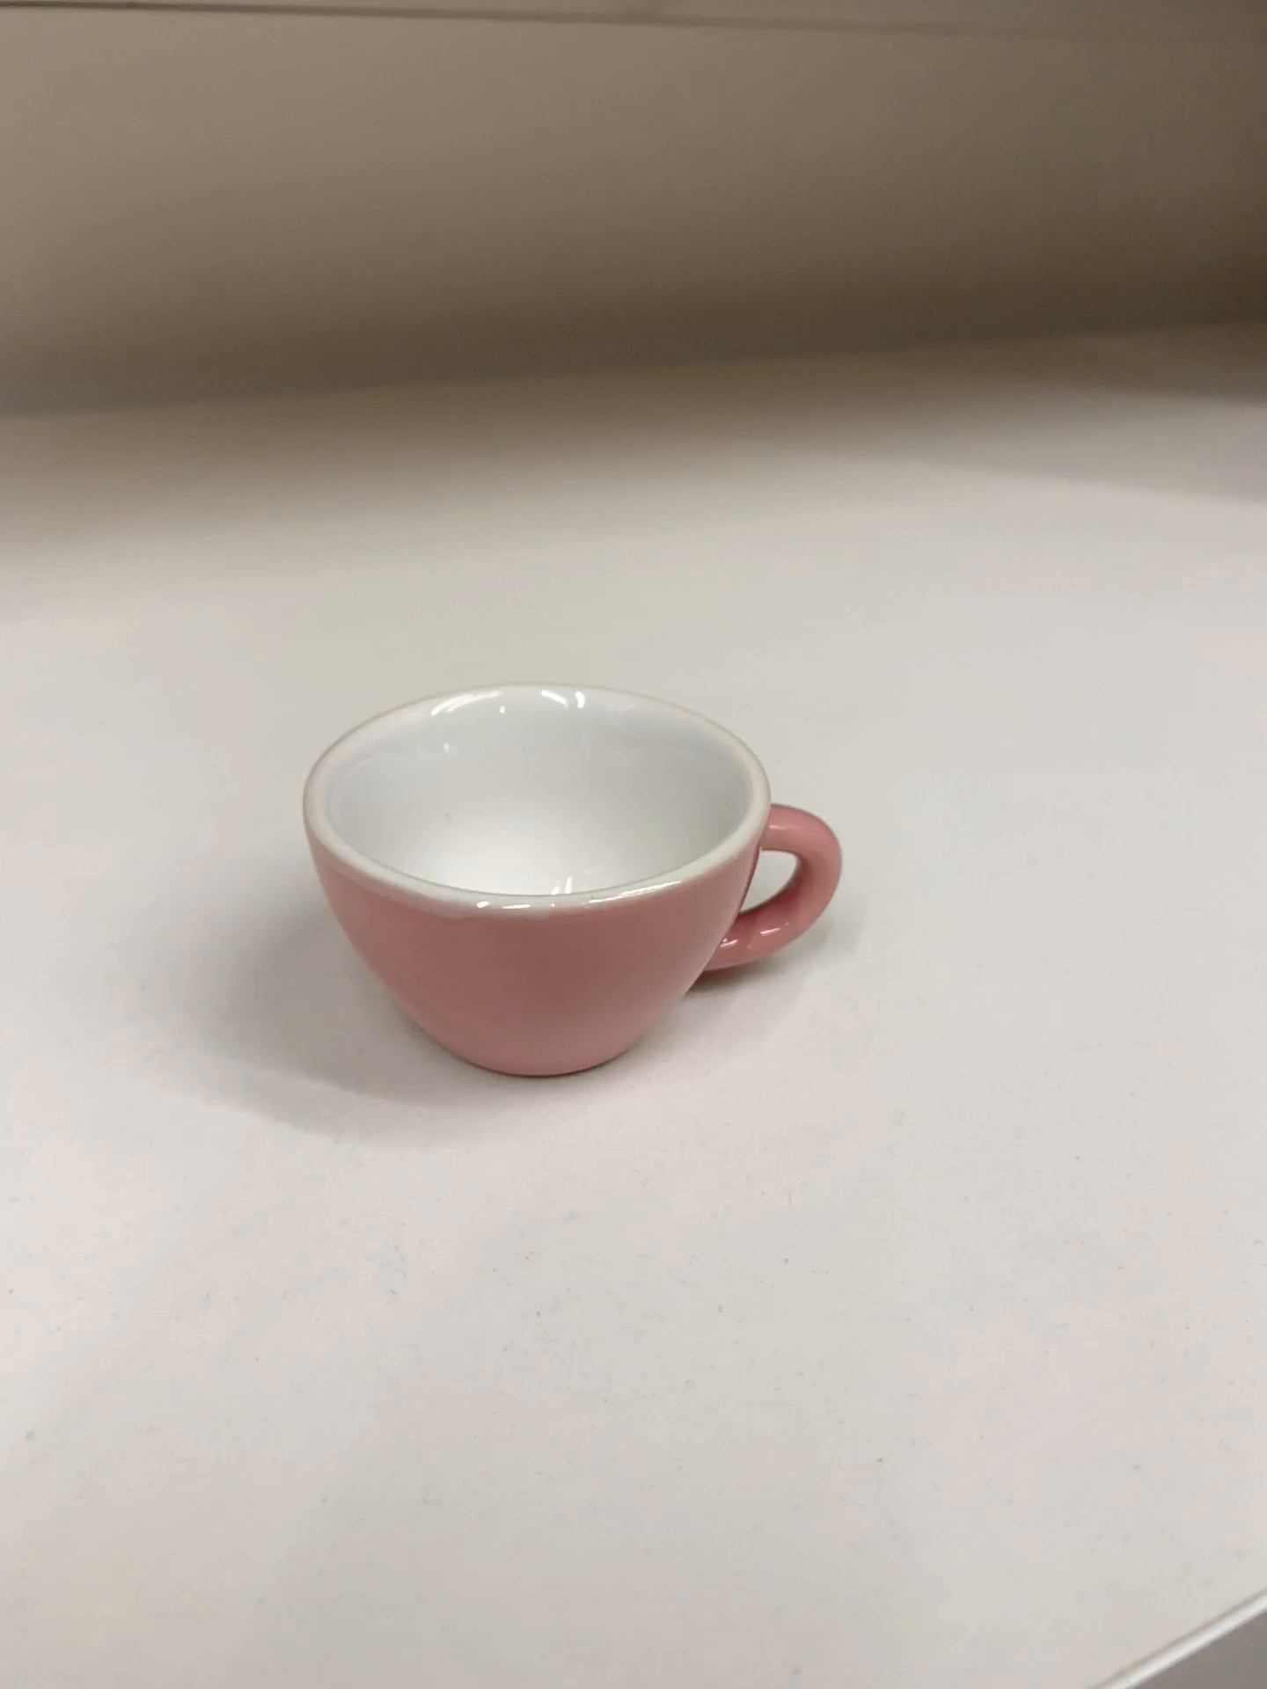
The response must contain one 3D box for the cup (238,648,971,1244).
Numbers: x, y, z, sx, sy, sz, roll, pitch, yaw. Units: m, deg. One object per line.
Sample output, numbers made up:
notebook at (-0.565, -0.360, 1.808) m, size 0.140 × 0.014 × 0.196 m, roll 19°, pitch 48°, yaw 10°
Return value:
cup at (-0.004, 0.008, 0.157) m, size 0.070 × 0.040 × 0.040 m, roll -12°, pitch 33°, yaw -21°
